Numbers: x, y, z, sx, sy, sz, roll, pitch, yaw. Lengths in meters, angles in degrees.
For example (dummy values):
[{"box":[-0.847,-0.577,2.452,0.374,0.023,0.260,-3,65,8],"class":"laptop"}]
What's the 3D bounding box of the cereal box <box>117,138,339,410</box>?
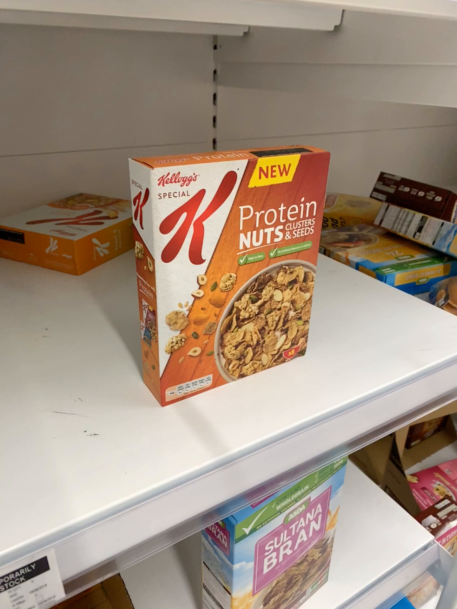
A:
[{"box":[0.002,-0.038,0.490,0.201,0.238,0.070,-15,31,-29],"class":"cereal box"}]
